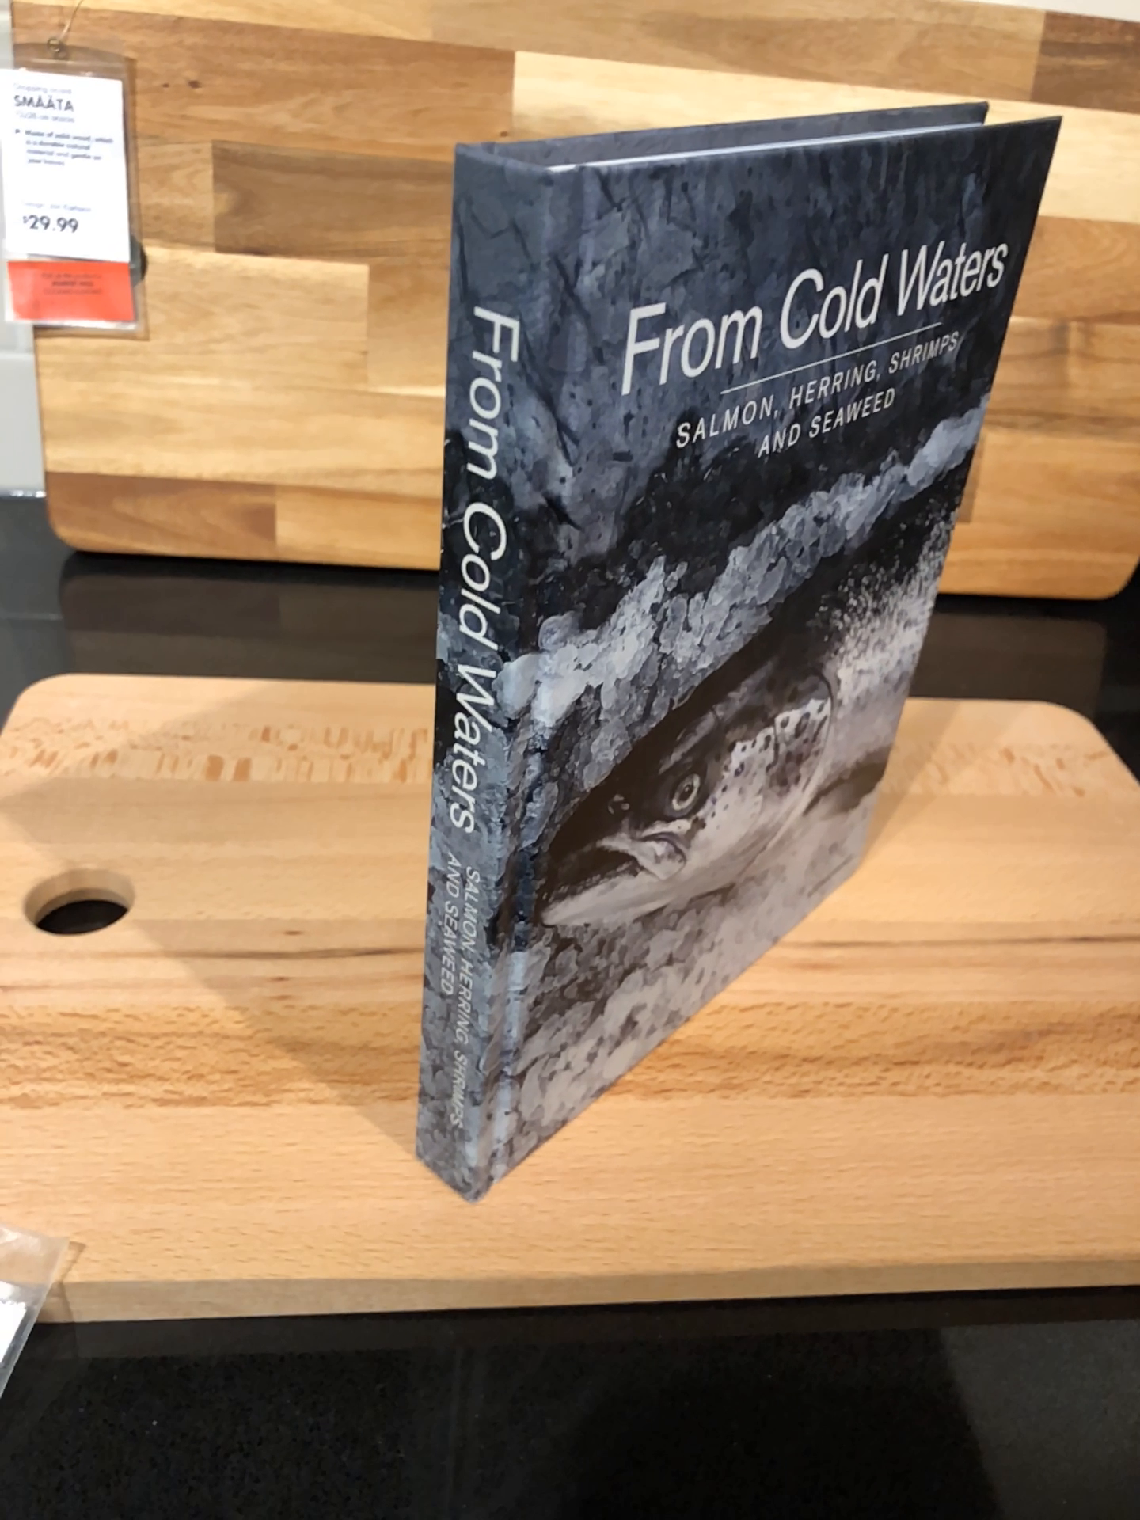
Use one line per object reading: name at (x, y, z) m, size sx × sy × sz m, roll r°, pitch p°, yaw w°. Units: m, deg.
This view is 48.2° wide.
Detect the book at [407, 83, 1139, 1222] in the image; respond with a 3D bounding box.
book at (0.050, -0.034, 0.304) m, size 0.029 × 0.219 × 0.213 m, roll 28°, pitch 39°, yaw 30°
